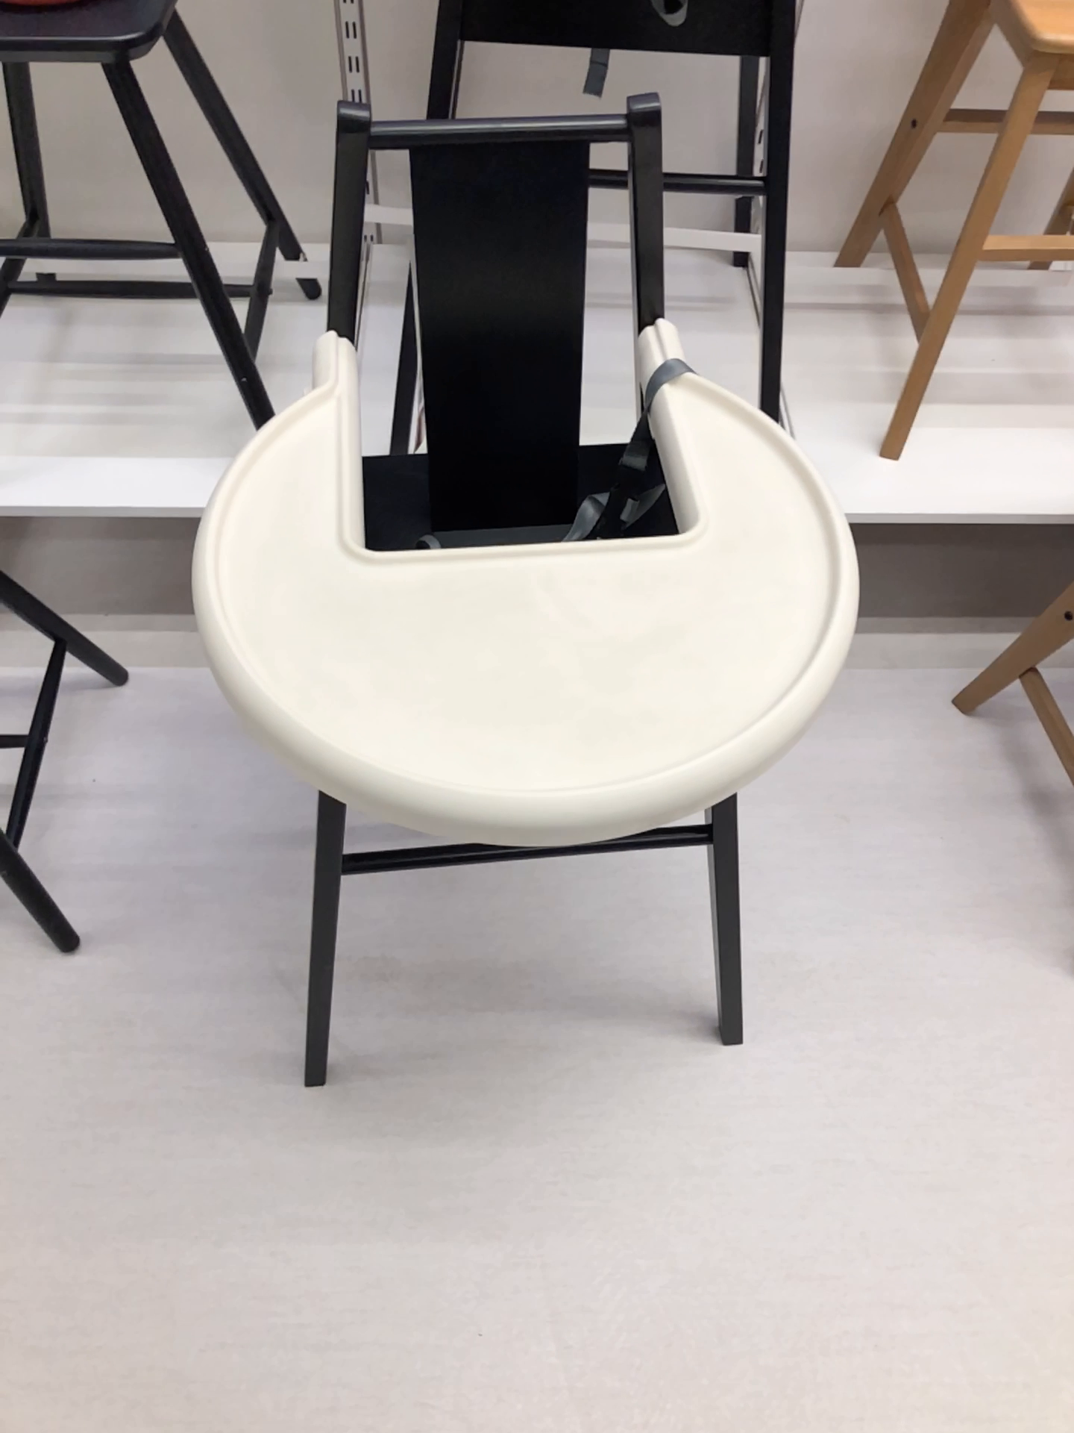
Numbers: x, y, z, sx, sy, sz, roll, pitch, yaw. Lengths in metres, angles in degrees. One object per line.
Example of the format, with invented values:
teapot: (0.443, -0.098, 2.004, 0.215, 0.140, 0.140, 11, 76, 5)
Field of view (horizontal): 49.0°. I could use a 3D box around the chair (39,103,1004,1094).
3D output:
chair: (-0.035, -0.064, 1.145, 0.550, 0.775, 0.553, -3, 53, -4)
